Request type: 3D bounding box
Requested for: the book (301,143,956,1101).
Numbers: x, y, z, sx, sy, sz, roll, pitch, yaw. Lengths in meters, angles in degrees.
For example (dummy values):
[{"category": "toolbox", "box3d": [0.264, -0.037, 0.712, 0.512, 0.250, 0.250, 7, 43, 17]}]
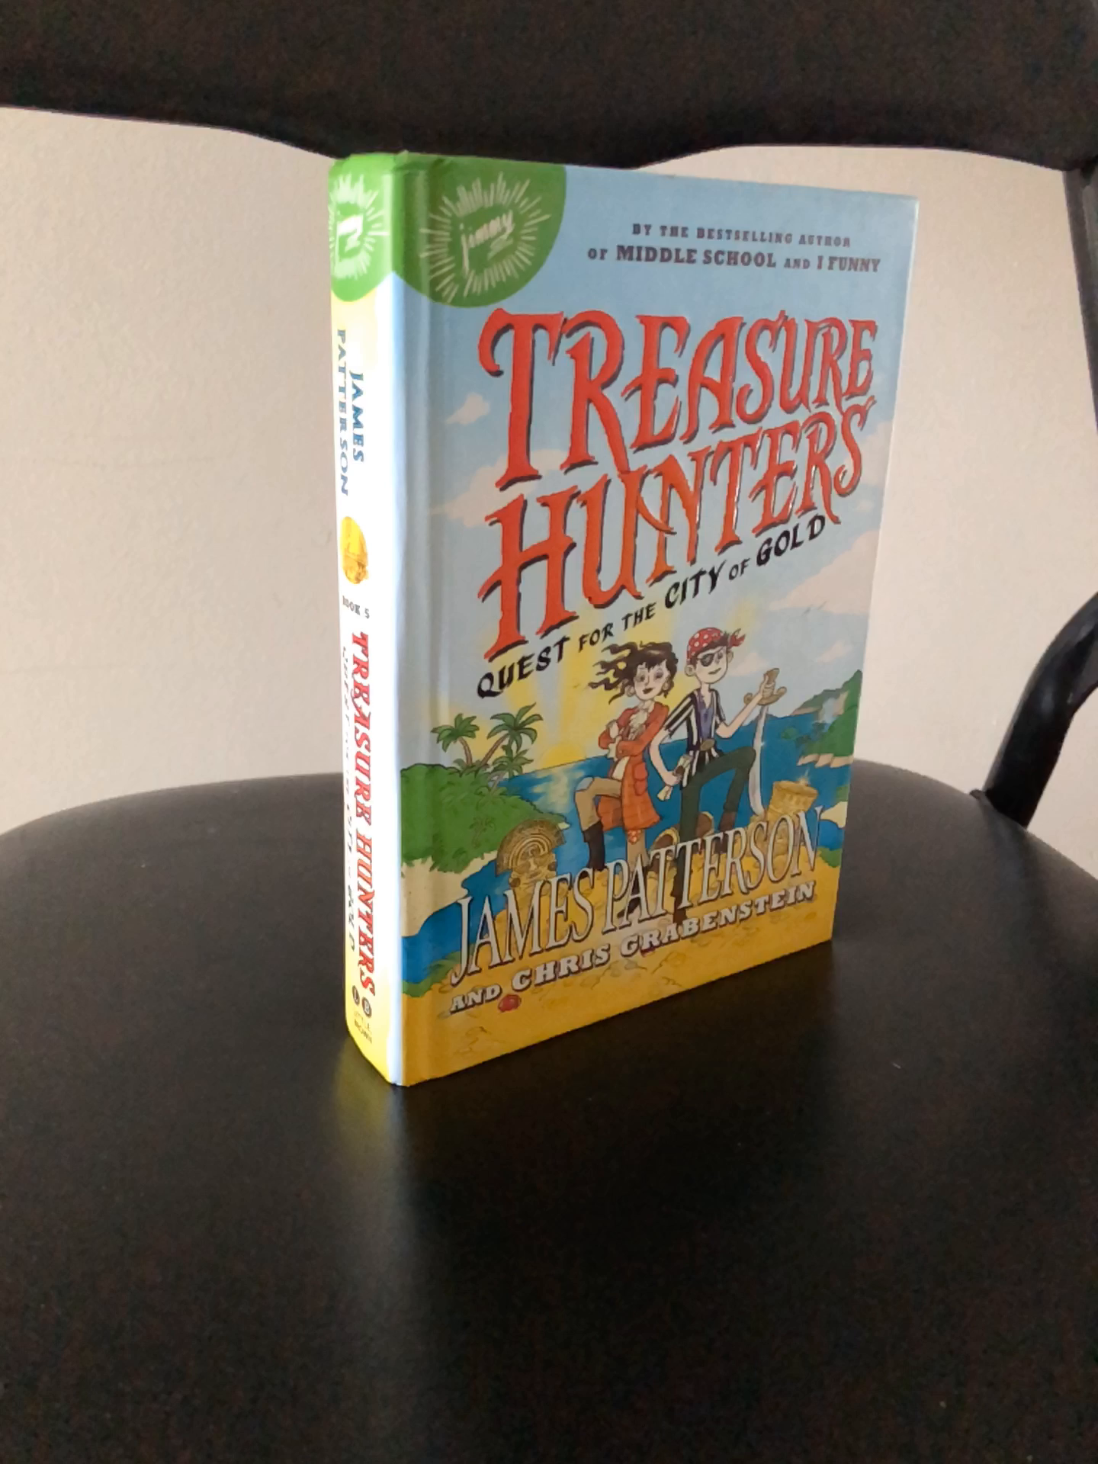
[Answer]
[{"category": "book", "box3d": [0.020, -0.028, 0.317, 0.155, 0.215, 0.040, -11, 26, -30]}]
